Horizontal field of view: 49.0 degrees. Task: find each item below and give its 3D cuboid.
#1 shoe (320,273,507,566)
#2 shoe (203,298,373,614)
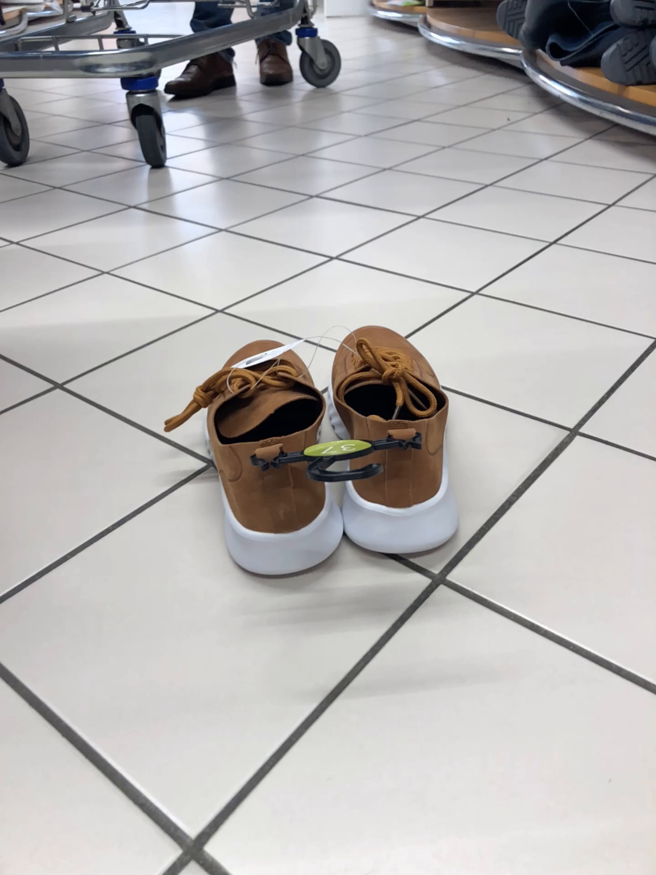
[{"bbox_3d":[0.047,-0.026,0.510,0.090,0.099,0.221,-3,33,-2],"label":"shoe"},{"bbox_3d":[-0.034,-0.003,0.504,0.090,0.099,0.231,-6,34,-5],"label":"shoe"}]
